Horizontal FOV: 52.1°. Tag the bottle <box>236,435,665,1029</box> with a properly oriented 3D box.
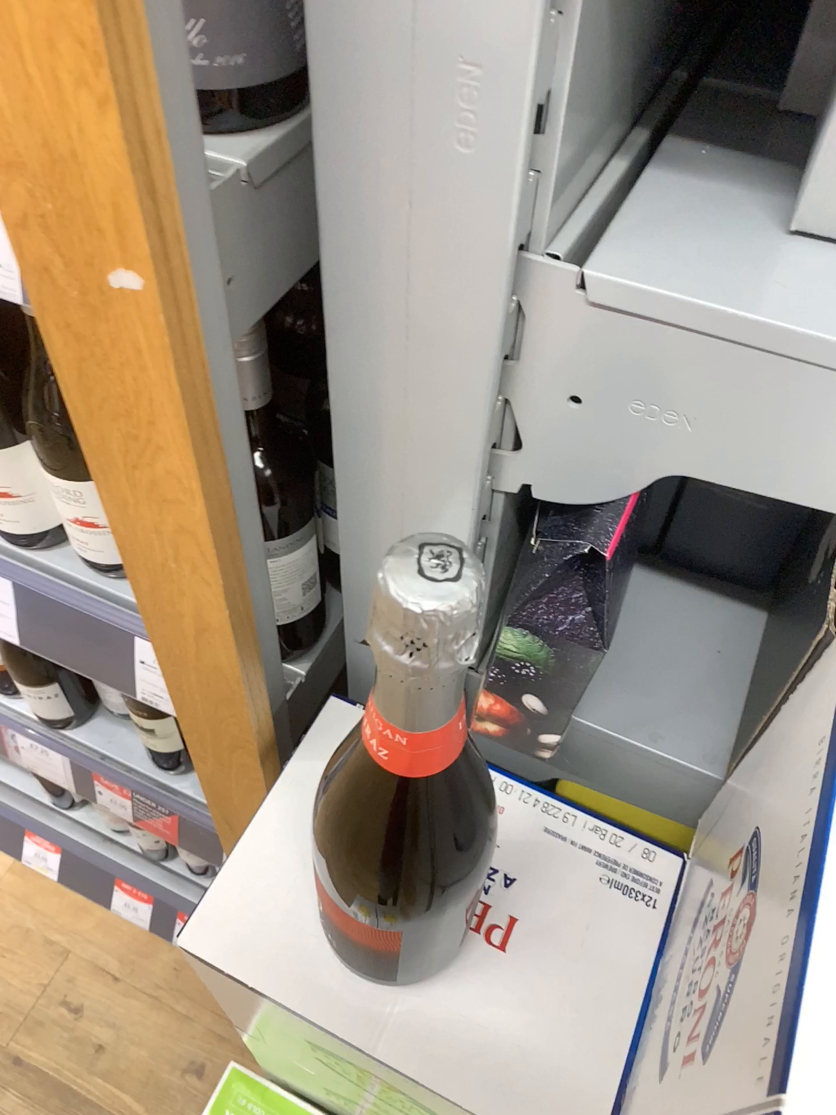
[{"bbox_3d":[0.000,0.097,0.349,0.094,0.289,0.091,1,51,-1],"label":"bottle"}]
